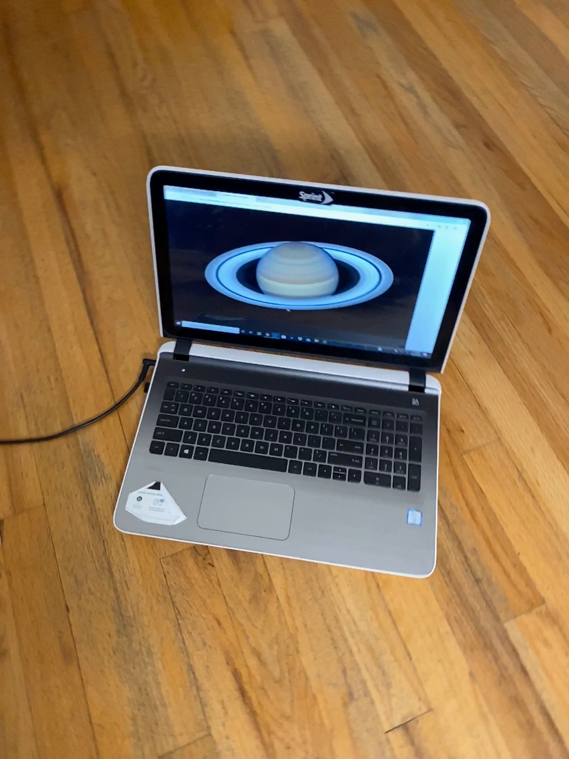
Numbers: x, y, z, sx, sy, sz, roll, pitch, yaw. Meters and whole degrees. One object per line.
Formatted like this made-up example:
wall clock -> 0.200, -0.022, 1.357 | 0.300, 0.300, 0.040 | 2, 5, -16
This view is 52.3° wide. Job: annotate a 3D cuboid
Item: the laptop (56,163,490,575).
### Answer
laptop -> 0.012, -0.010, 0.657 | 0.371, 0.202, 0.364 | 8, 65, 3
